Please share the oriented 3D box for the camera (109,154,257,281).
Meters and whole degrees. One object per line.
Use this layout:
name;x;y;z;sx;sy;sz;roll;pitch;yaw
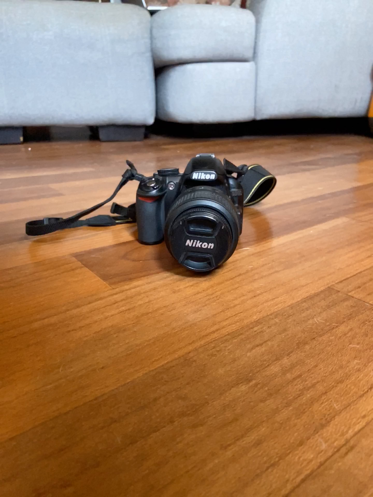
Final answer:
camera;0.001;-0.043;0.403;0.120;0.090;0.162;1;21;3
